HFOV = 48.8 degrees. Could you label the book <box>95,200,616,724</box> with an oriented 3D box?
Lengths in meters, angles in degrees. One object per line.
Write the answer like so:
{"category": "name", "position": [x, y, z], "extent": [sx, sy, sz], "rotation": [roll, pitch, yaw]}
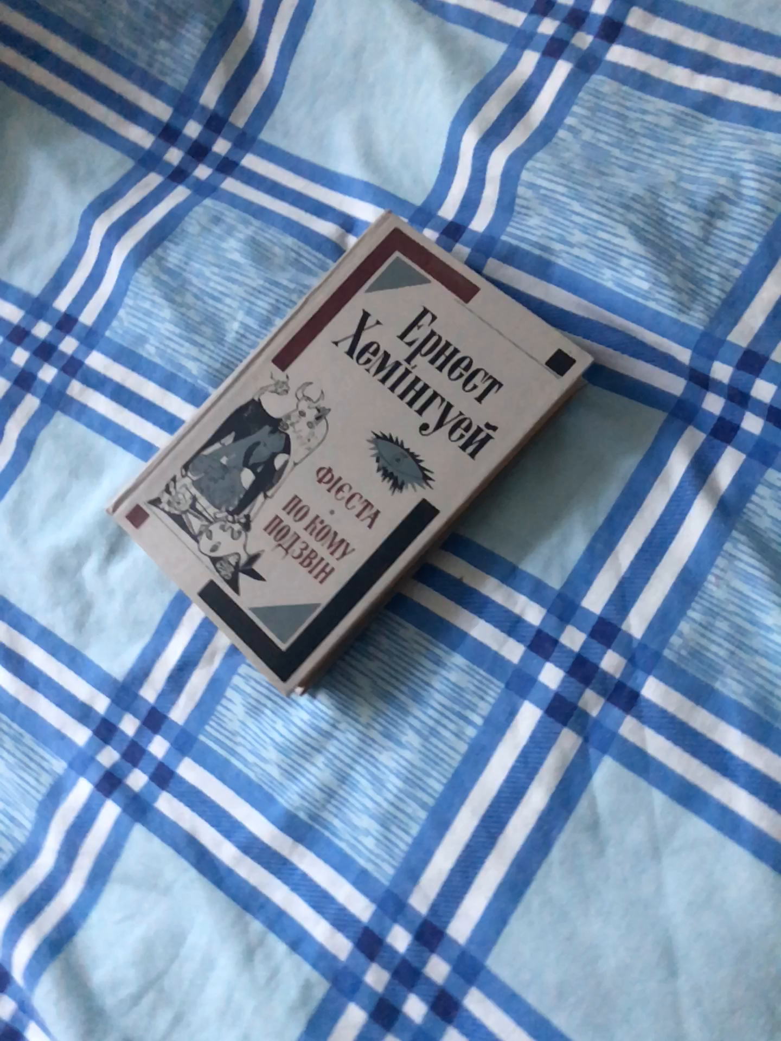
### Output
{"category": "book", "position": [-0.018, -0.032, 0.426], "extent": [0.142, 0.040, 0.220], "rotation": [42, 88, 21]}
